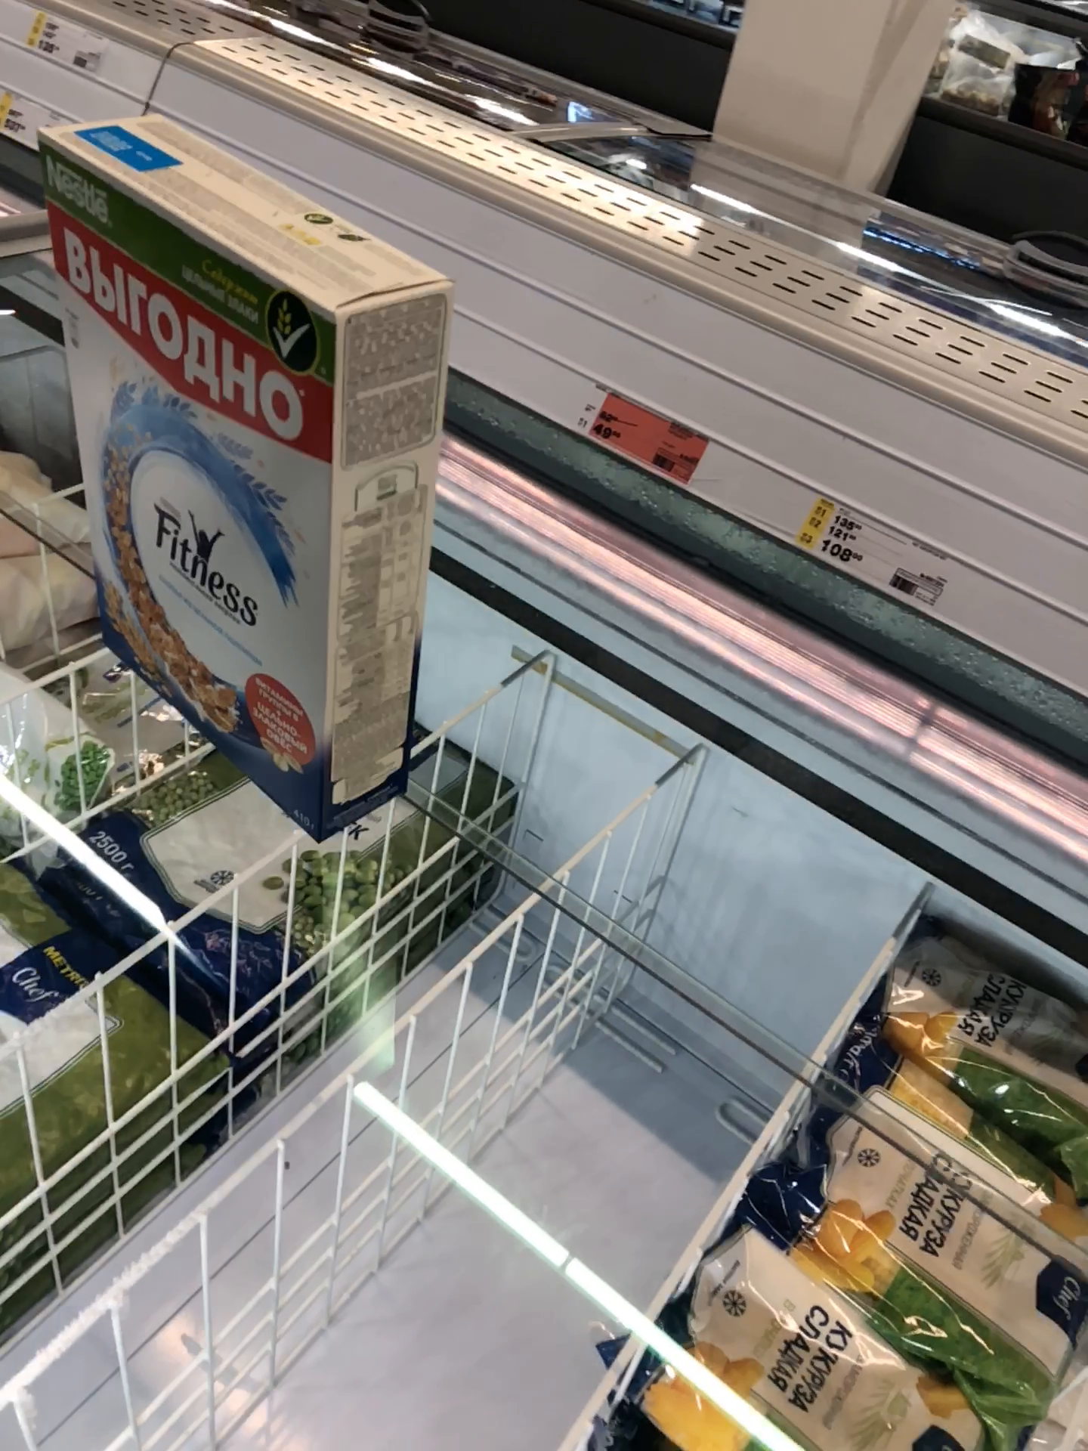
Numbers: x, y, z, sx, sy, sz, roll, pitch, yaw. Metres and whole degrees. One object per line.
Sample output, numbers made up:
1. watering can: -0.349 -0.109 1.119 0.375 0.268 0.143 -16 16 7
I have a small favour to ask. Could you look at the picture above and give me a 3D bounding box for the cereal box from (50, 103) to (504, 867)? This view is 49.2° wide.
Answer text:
1. cereal box: -0.125 -0.100 0.532 0.201 0.268 0.060 38 48 27
